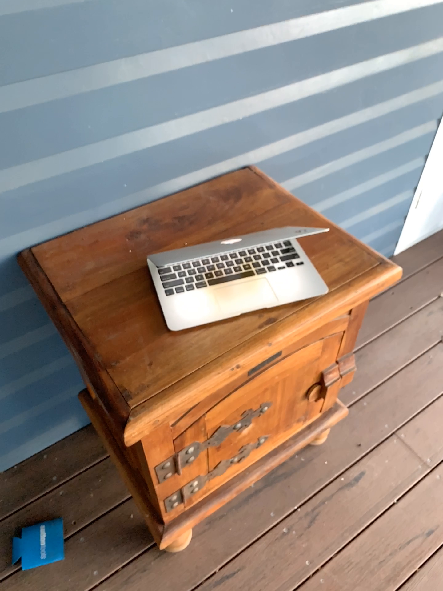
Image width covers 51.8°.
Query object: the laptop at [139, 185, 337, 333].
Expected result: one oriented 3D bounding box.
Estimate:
[{"bbox_3d":[0.021,-0.070,0.785,0.282,0.099,0.180,-14,49,-12],"label":"laptop"}]
